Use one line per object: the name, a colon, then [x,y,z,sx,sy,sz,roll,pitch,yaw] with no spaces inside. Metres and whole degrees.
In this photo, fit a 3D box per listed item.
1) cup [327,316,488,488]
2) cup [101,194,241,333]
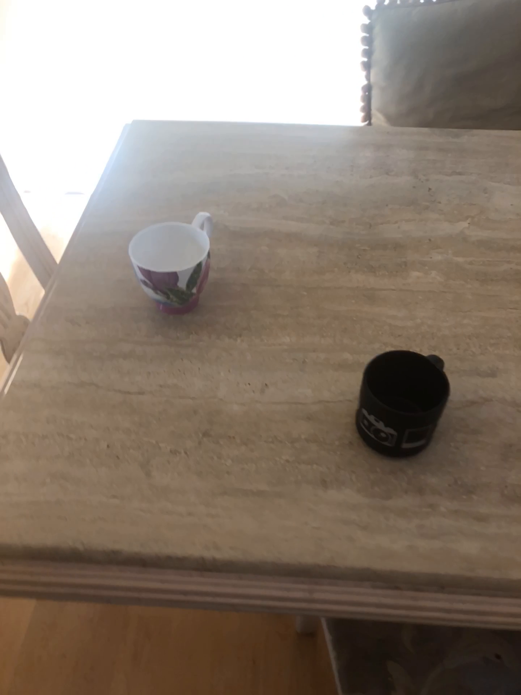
cup: [0.166,0.058,0.657,0.100,0.089,0.151,35,56,28]
cup: [-0.118,-0.121,0.798,0.110,0.089,0.161,23,51,20]
